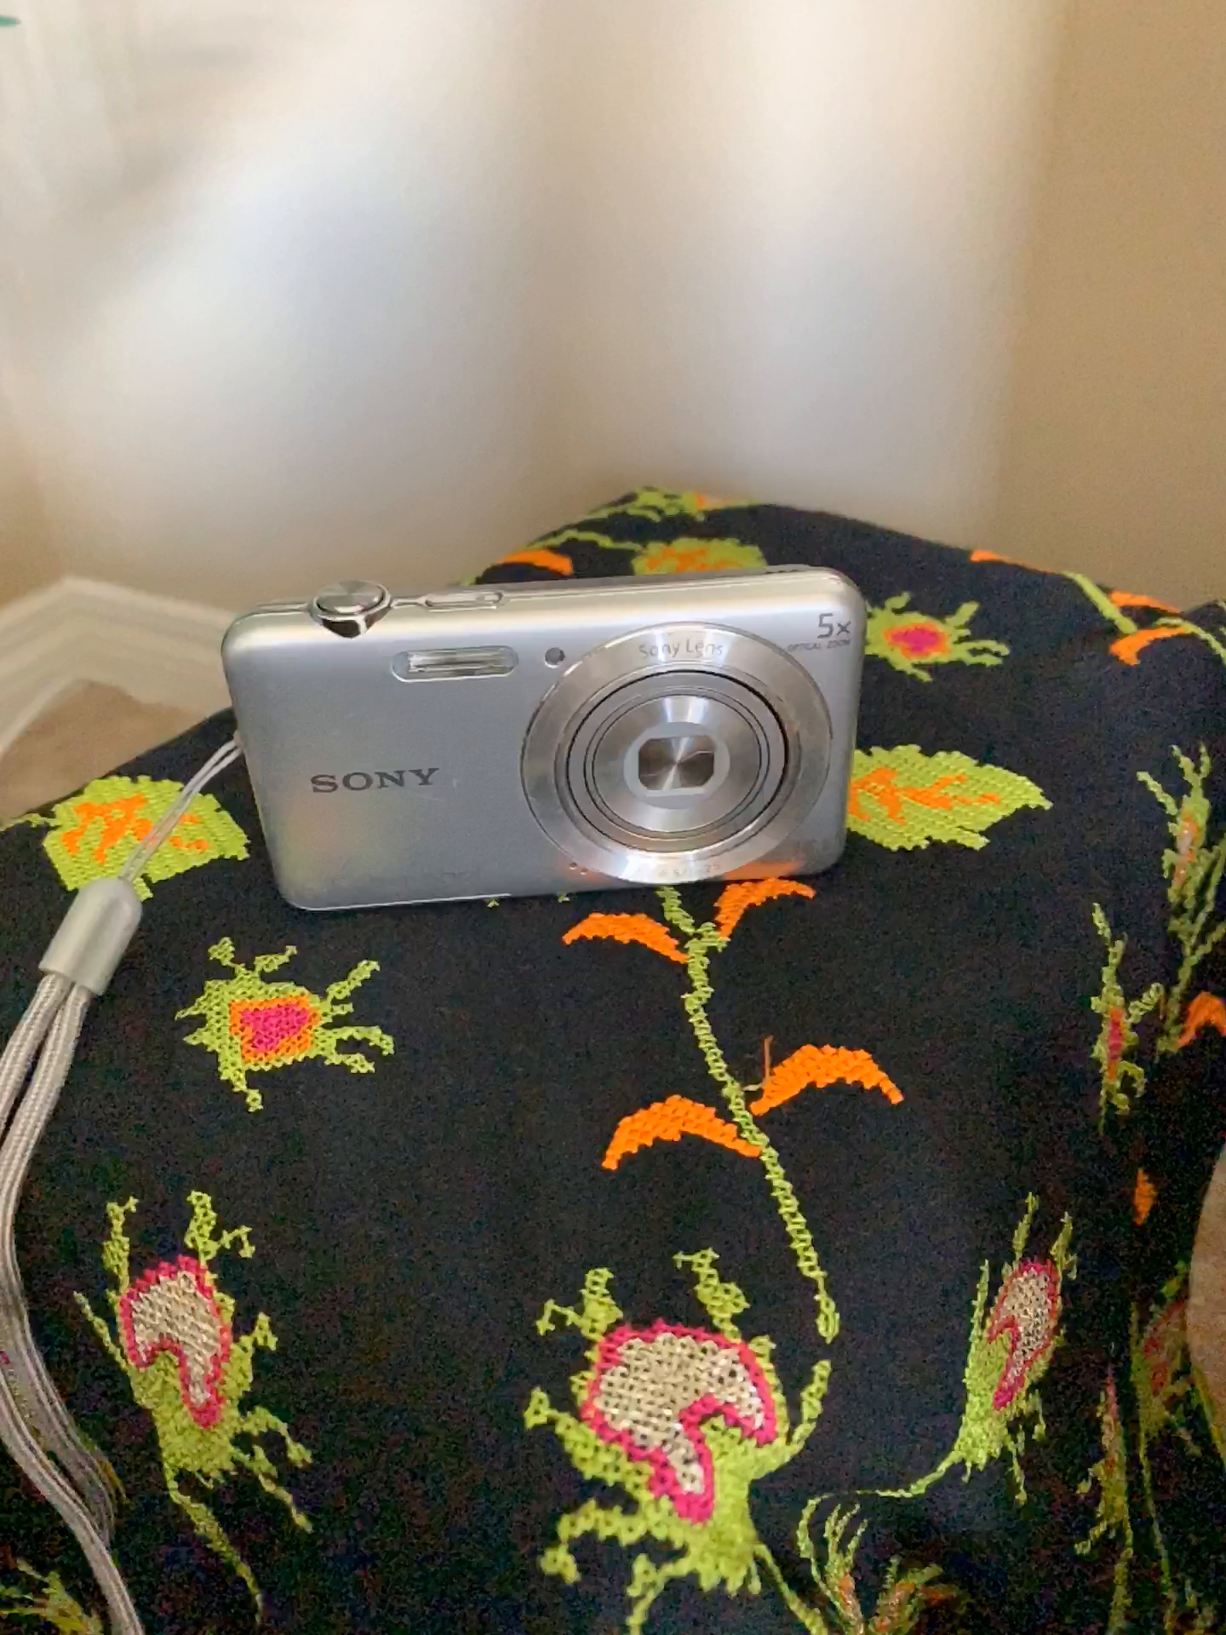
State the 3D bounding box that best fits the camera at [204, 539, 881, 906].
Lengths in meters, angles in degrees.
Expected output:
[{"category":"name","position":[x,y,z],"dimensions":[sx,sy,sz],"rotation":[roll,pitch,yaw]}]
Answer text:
[{"category":"camera","position":[-0.009,-0.013,0.183],"dimensions":[0.086,0.042,0.020],"rotation":[-4,35,-2]}]
